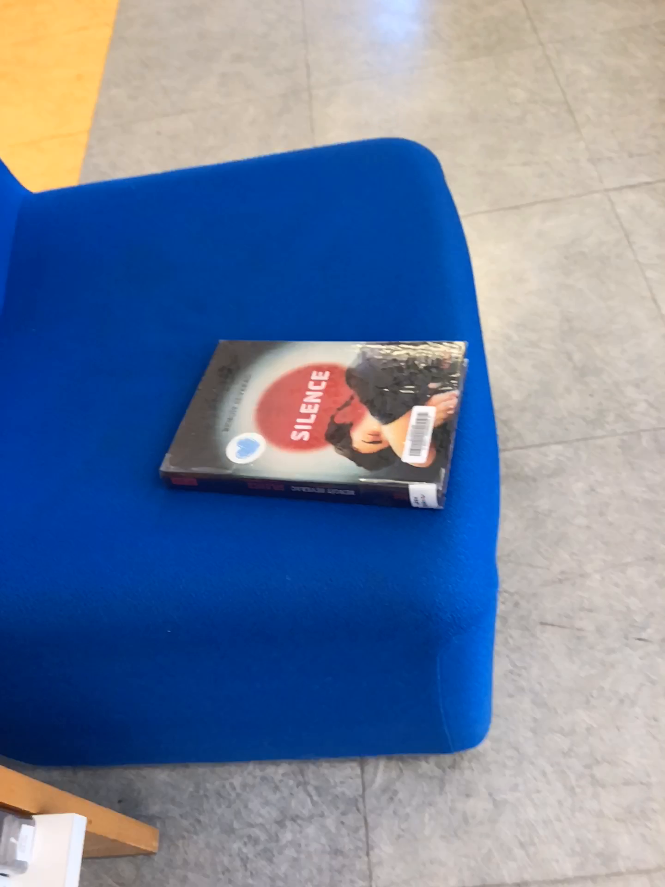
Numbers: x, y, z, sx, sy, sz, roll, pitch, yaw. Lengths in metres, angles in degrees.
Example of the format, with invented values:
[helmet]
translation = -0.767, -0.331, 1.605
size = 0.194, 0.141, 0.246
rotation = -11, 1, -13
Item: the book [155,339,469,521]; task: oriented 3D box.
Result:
[book]
translation = -0.011, -0.018, 0.559
size = 0.211, 0.023, 0.147
rotation = 3, 53, 16
